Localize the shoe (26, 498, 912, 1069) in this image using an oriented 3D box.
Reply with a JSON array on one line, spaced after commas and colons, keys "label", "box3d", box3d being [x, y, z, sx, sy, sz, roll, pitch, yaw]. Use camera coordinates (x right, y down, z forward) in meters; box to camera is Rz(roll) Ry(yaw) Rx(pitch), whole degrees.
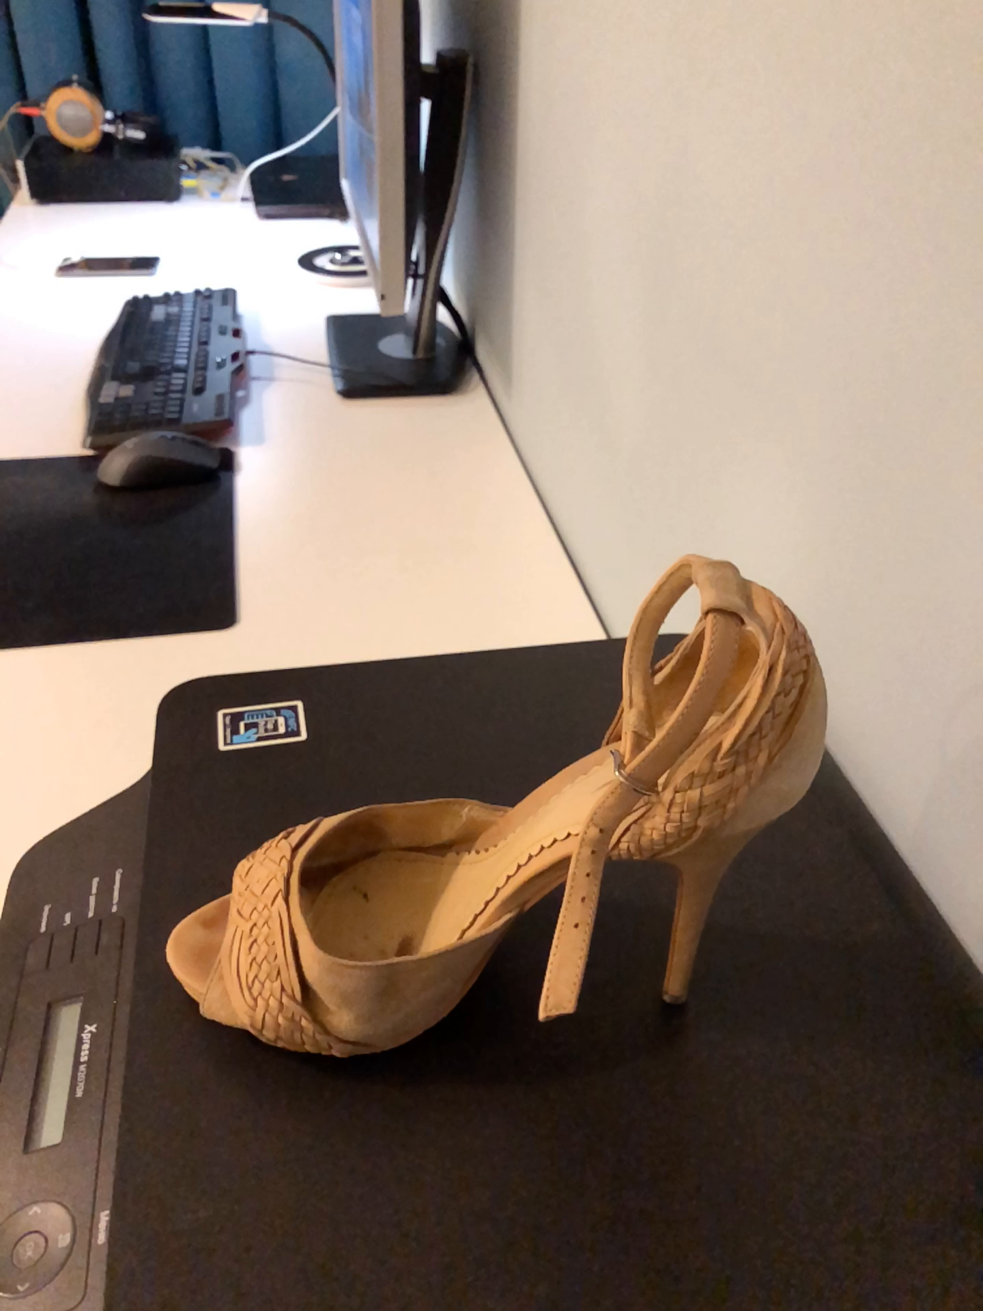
[{"label": "shoe", "box3d": [-0.006, 0.044, 0.352, 0.220, 0.159, 0.091, 1, 35, 0]}]
